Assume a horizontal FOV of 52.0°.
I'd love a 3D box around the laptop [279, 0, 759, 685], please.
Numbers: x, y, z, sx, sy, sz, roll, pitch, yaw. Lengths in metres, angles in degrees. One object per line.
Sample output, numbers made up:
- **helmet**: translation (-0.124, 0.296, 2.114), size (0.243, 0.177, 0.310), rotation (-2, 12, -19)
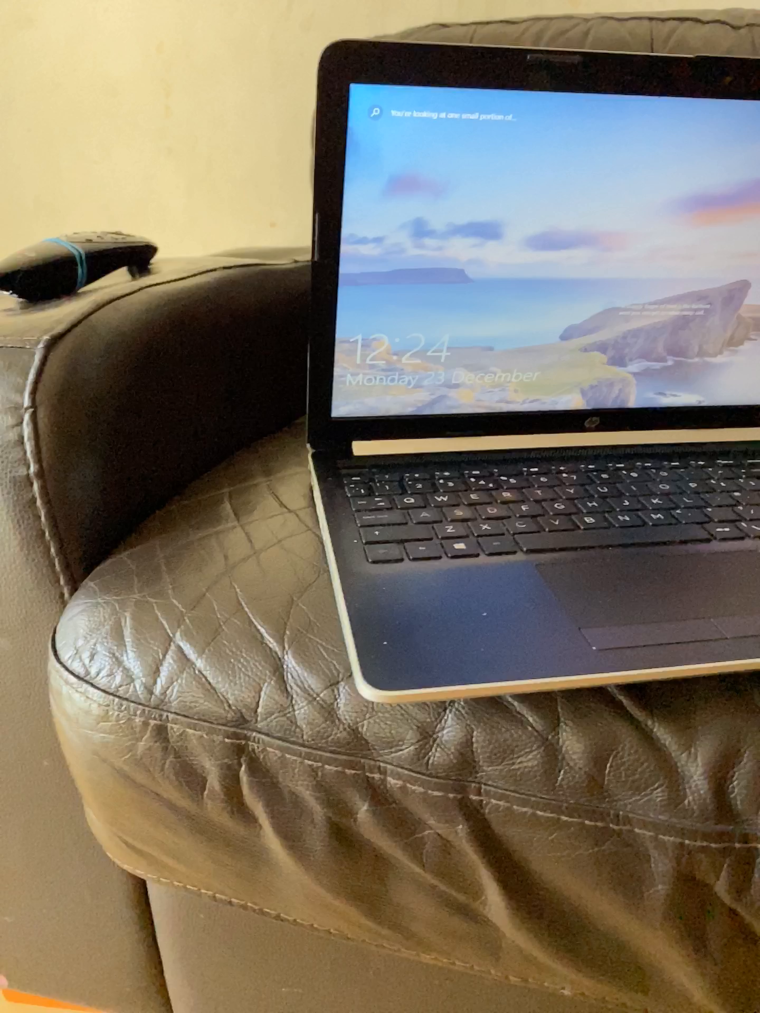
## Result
- **laptop**: translation (0.155, -0.090, 0.374), size (0.371, 0.212, 0.238), rotation (-4, 24, -8)
